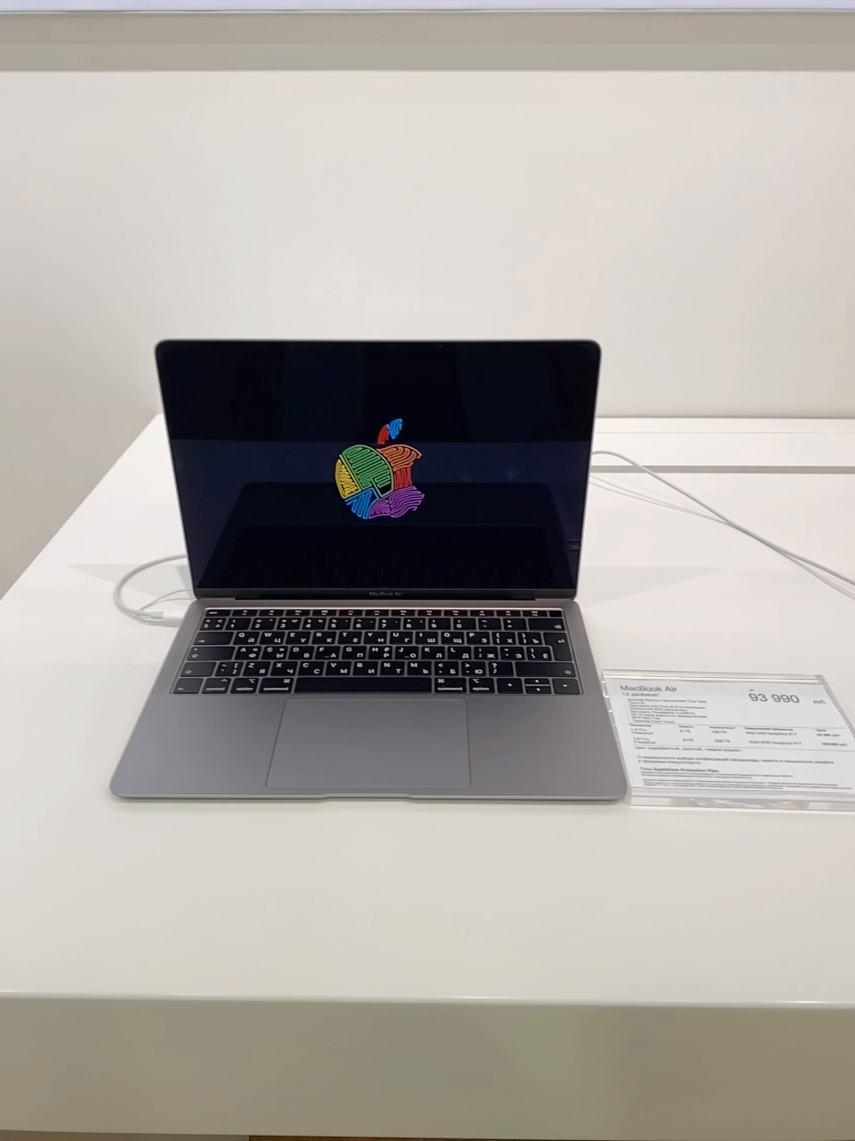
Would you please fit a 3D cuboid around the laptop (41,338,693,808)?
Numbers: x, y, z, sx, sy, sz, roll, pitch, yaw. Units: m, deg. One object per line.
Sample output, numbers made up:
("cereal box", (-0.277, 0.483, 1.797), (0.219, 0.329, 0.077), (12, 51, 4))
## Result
("laptop", (-0.028, -0.013, 0.551), (0.301, 0.211, 0.226), (1, 28, 1))
